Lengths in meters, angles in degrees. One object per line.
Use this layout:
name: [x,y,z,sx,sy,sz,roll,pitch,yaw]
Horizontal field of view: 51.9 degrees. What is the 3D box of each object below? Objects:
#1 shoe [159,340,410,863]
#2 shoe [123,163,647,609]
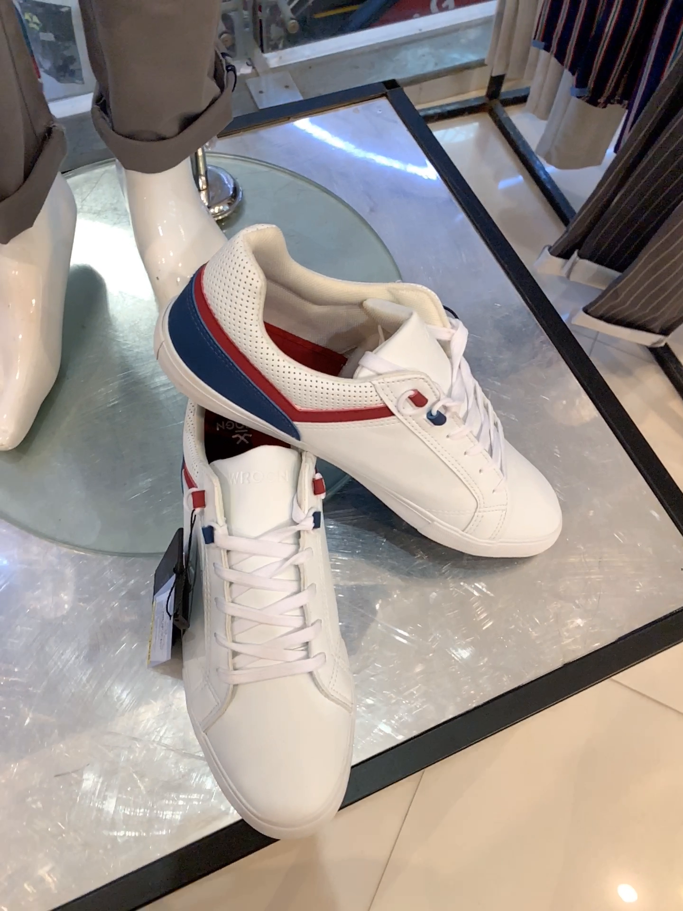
shoe: [-0.049,0.076,0.431,0.100,0.100,0.281,-4,65,-14]
shoe: [0.029,-0.031,0.417,0.280,0.100,0.100,31,55,-8]
